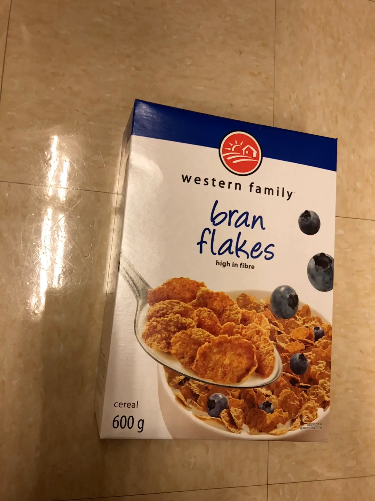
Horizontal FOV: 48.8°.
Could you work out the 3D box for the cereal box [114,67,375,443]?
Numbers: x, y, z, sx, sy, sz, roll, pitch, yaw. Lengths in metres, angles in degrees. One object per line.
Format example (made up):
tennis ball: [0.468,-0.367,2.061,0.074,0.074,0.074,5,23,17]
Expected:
cereal box: [0.059,0.012,0.397,0.220,0.090,0.300,7,83,-14]
